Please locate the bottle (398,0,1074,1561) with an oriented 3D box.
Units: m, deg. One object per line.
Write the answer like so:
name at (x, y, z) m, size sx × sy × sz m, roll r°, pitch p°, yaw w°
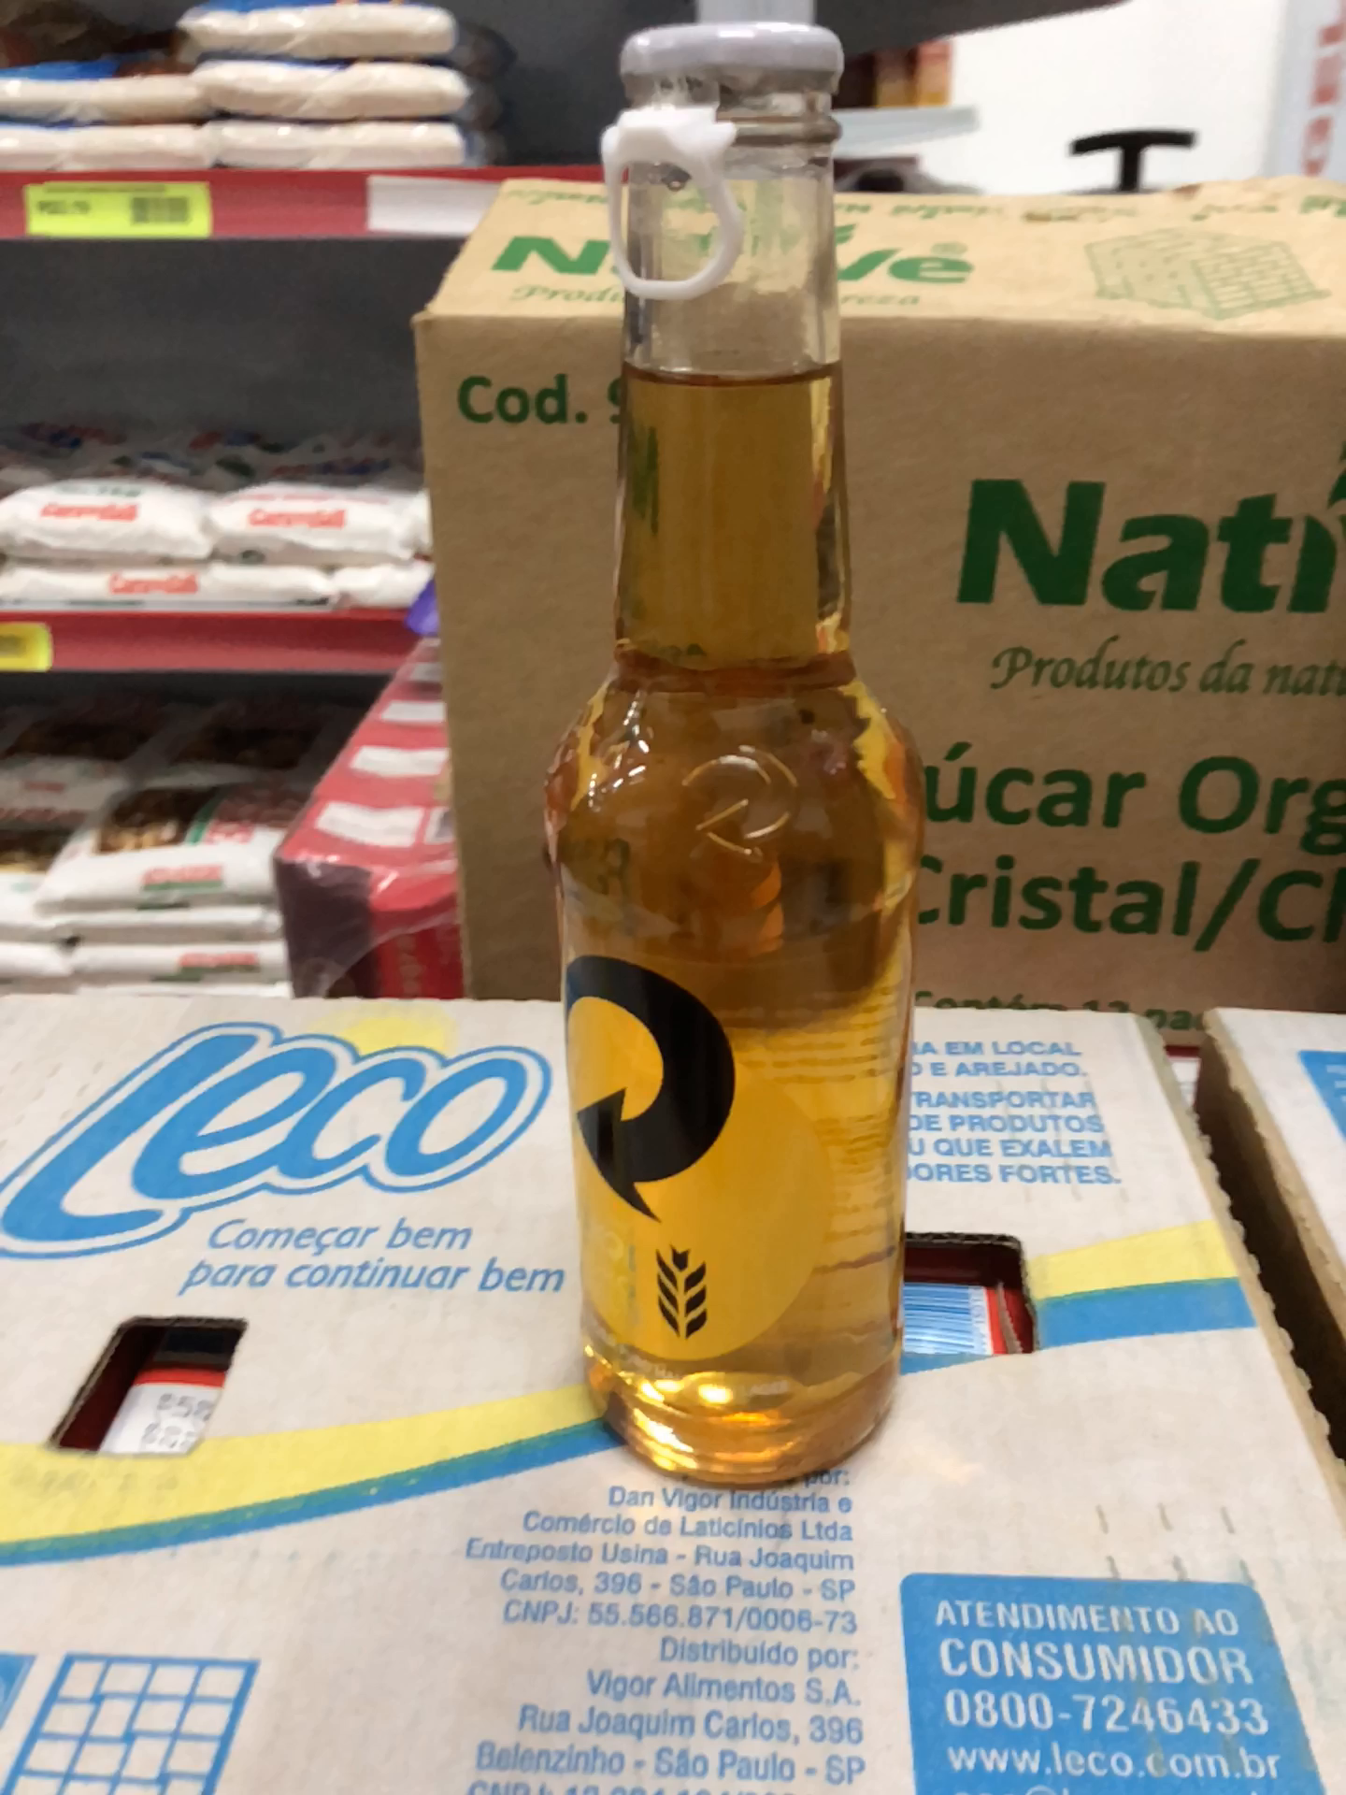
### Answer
bottle at (0.010, -0.010, 0.225) m, size 0.060 × 0.208 × 0.060 m, roll 0°, pitch 25°, yaw 0°
